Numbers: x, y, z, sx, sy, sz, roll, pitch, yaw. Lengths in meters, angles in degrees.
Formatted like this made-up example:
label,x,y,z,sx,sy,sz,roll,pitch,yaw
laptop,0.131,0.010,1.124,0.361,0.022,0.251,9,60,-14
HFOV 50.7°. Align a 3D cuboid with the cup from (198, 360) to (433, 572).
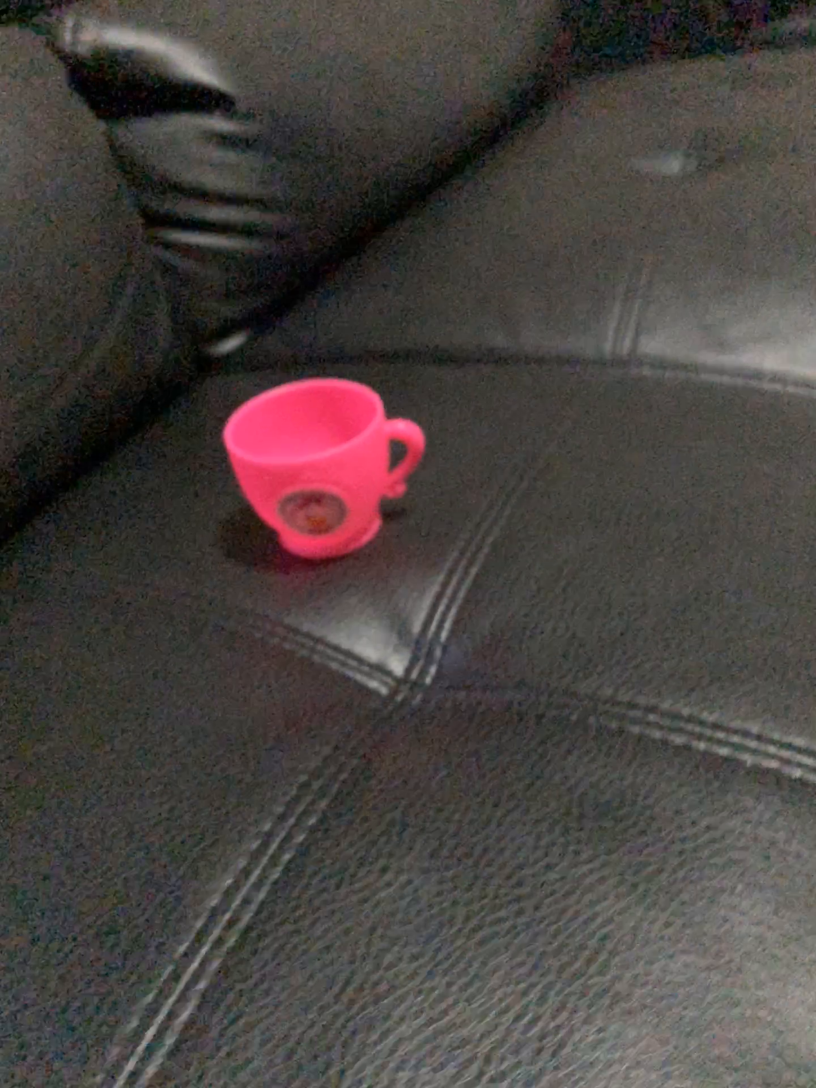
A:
label,x,y,z,sx,sy,sz,roll,pitch,yaw
cup,-0.031,-0.030,0.328,0.073,0.047,0.062,-6,35,7
